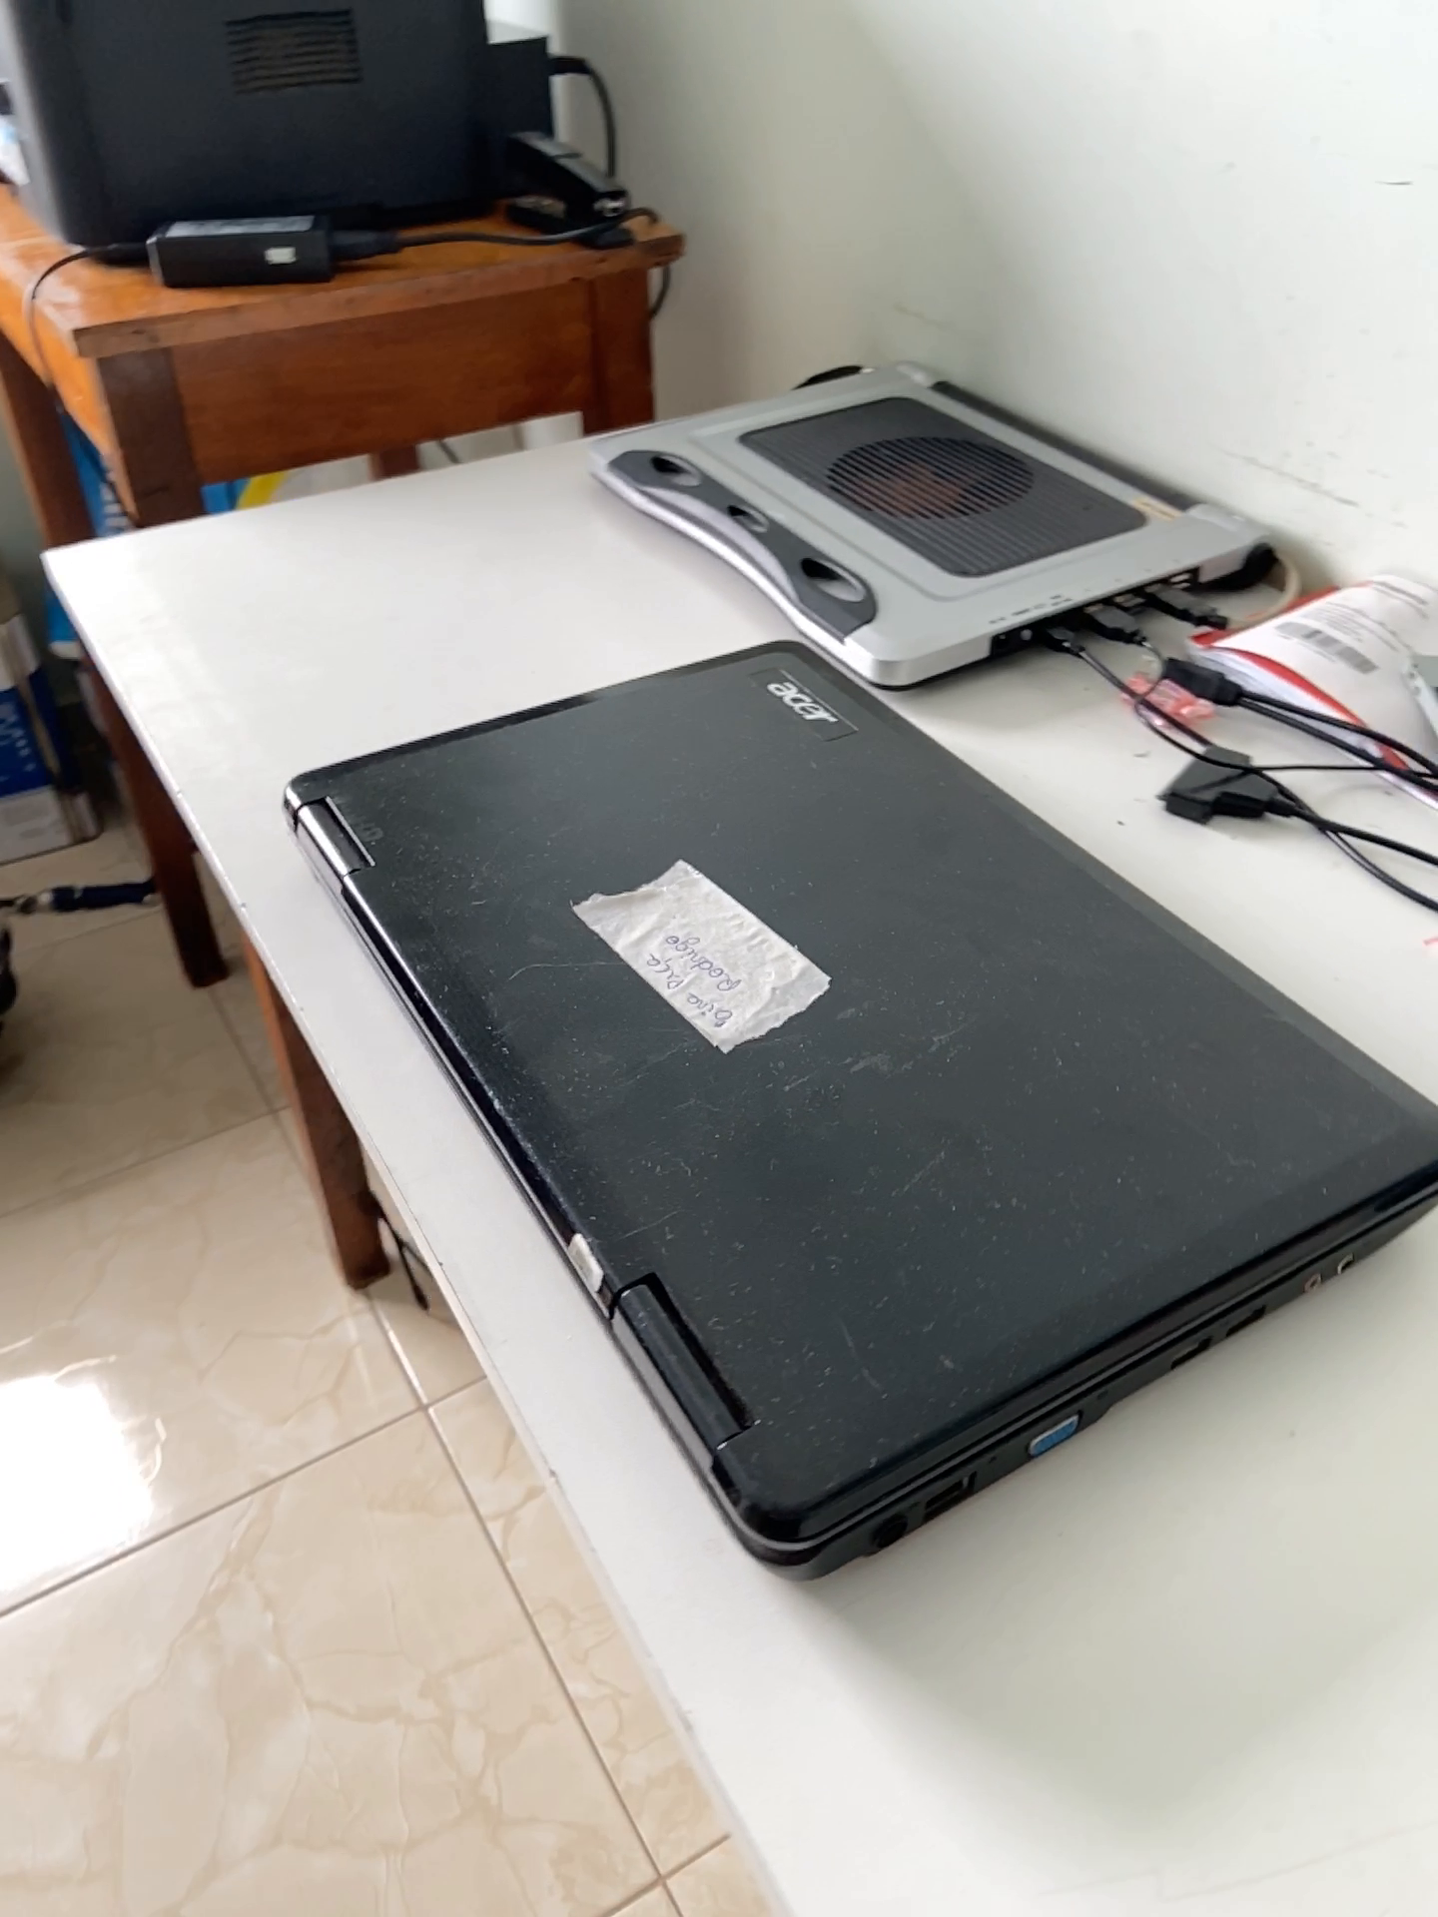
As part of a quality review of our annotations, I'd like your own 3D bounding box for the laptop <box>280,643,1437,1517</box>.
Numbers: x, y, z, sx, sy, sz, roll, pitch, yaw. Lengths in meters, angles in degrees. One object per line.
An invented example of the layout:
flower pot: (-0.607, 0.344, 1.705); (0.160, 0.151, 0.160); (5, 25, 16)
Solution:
laptop: (0.020, -0.007, 0.507); (0.239, 0.005, 0.358); (-20, 43, -23)
